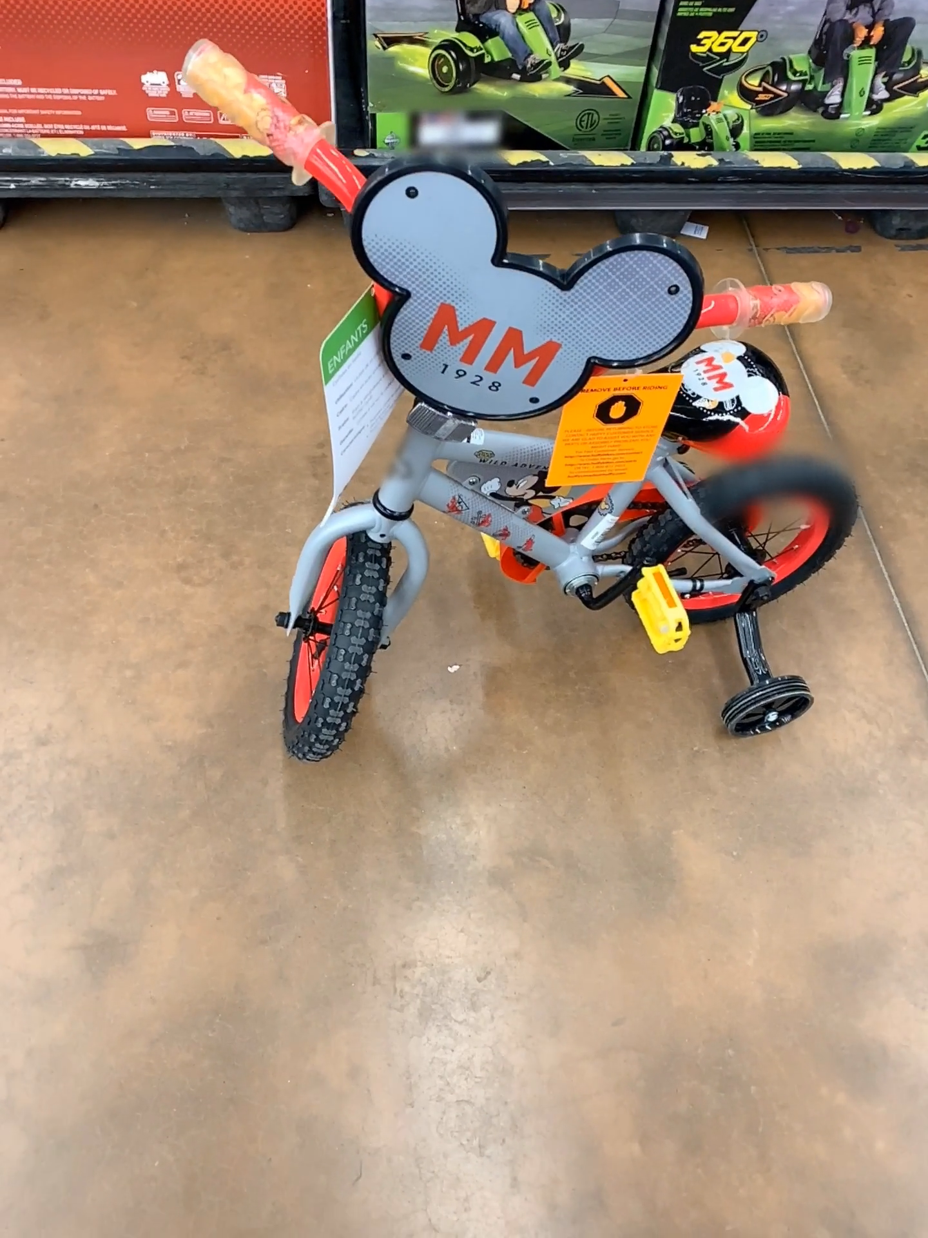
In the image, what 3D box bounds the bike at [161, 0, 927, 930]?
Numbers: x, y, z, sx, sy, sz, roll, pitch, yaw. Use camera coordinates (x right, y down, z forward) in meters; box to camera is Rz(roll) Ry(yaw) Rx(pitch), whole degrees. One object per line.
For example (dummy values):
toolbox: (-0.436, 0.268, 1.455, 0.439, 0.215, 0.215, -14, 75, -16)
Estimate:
bike: (0.125, -0.143, 0.935, 0.641, 0.689, 0.453, -19, 58, -12)
